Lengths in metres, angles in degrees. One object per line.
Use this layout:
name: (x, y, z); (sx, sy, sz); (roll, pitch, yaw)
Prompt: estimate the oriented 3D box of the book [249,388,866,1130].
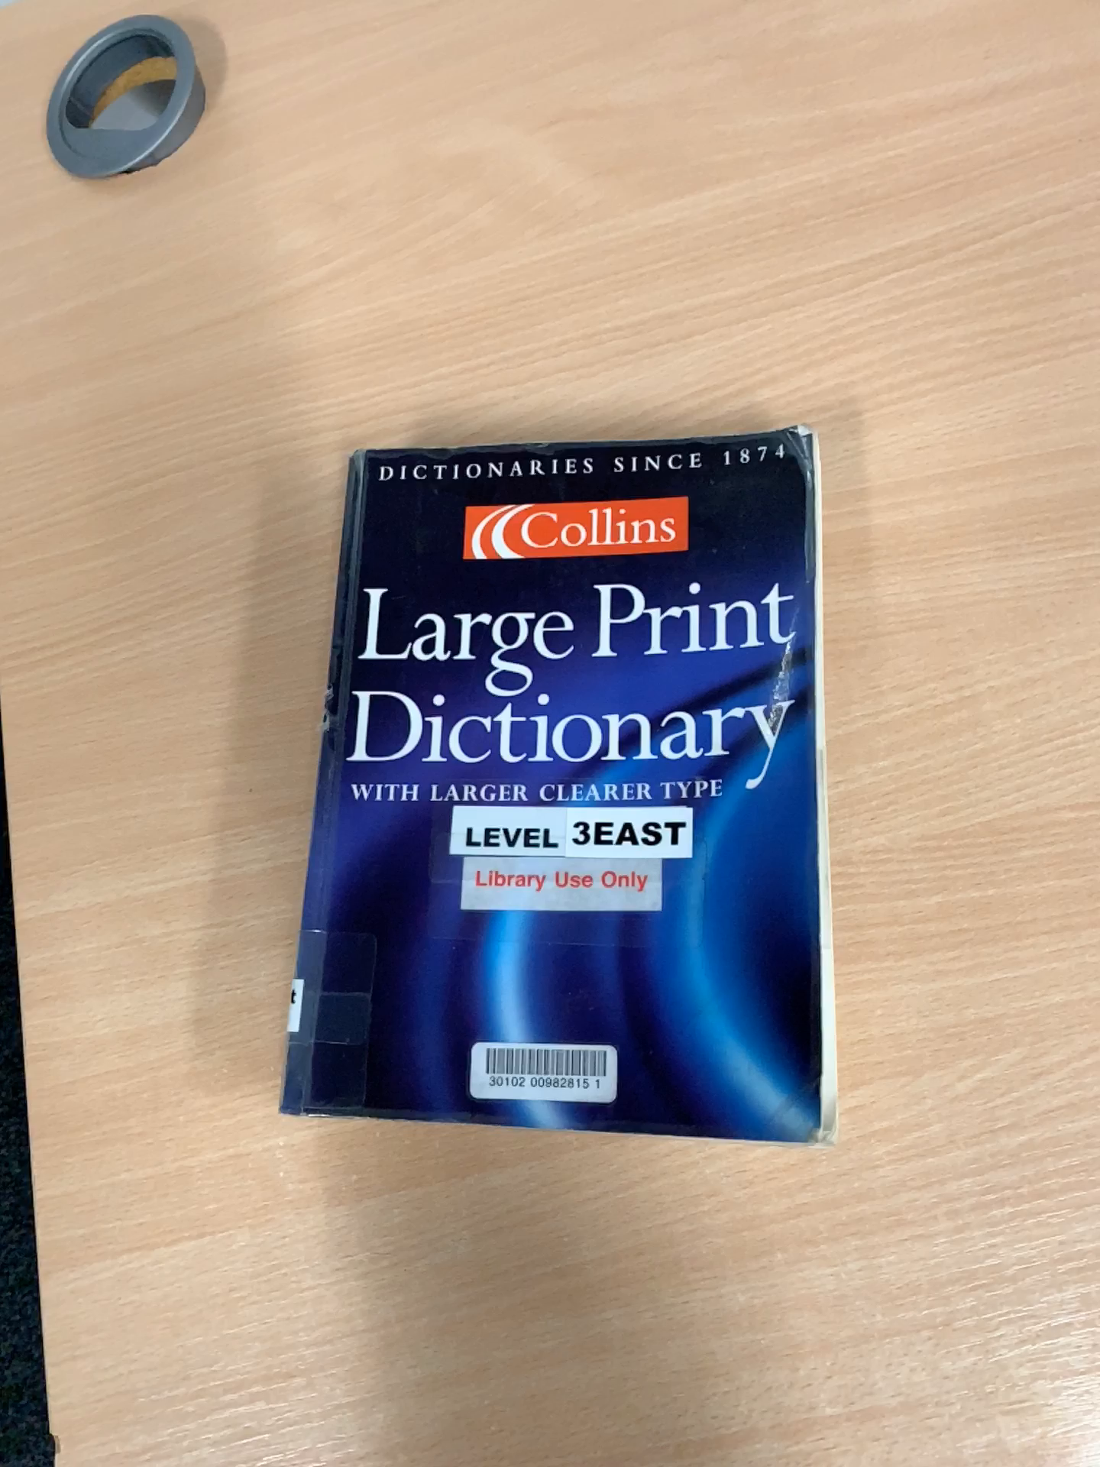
book: (0.008, 0.004, 0.396); (0.188, 0.050, 0.243); (0, 73, 10)
